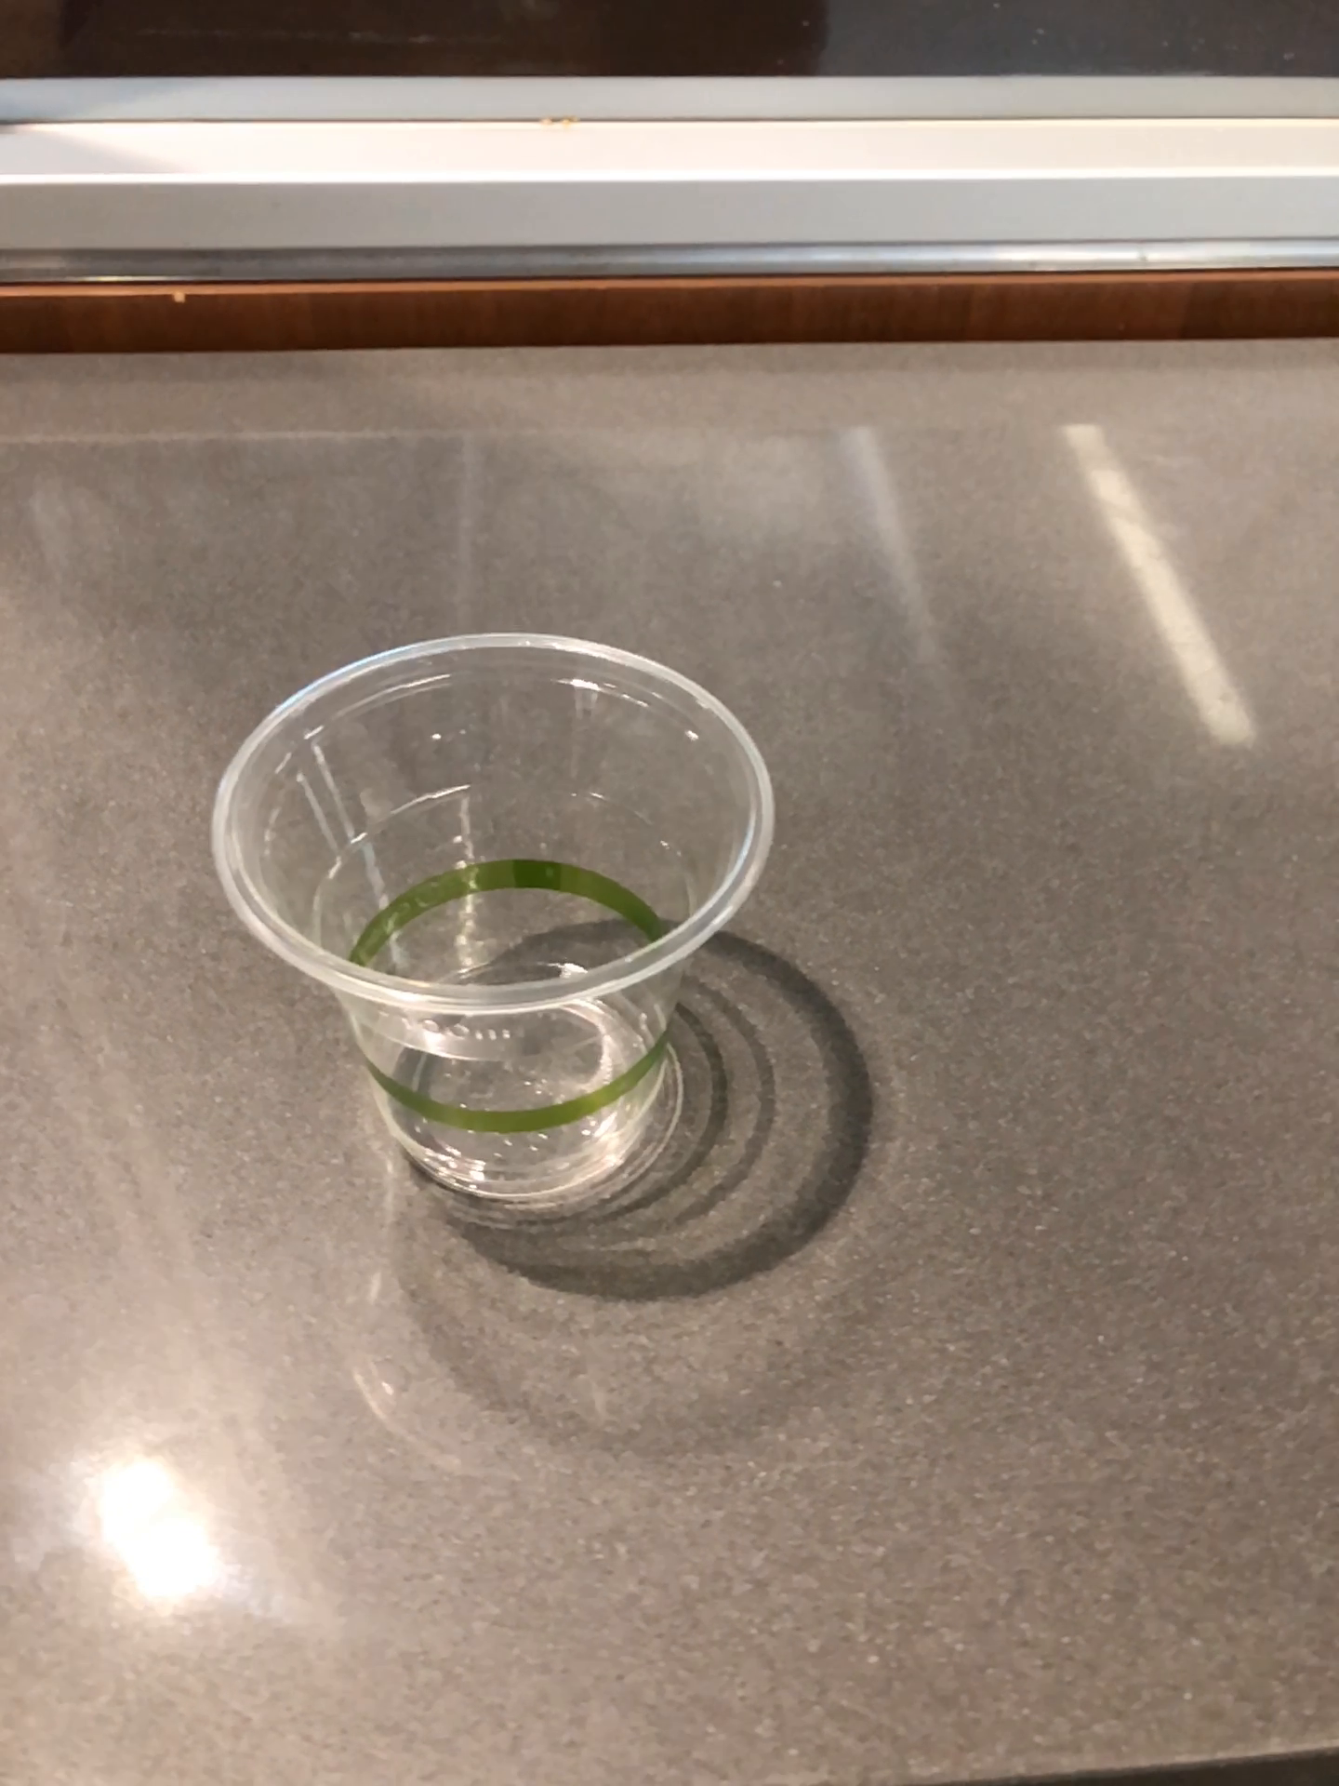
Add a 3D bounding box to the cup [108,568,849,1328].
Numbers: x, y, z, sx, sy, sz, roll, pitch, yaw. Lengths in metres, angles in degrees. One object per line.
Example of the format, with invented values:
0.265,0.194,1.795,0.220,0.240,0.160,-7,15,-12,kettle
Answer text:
-0.021,0.005,0.213,0.070,0.060,0.070,1,43,-1,cup
